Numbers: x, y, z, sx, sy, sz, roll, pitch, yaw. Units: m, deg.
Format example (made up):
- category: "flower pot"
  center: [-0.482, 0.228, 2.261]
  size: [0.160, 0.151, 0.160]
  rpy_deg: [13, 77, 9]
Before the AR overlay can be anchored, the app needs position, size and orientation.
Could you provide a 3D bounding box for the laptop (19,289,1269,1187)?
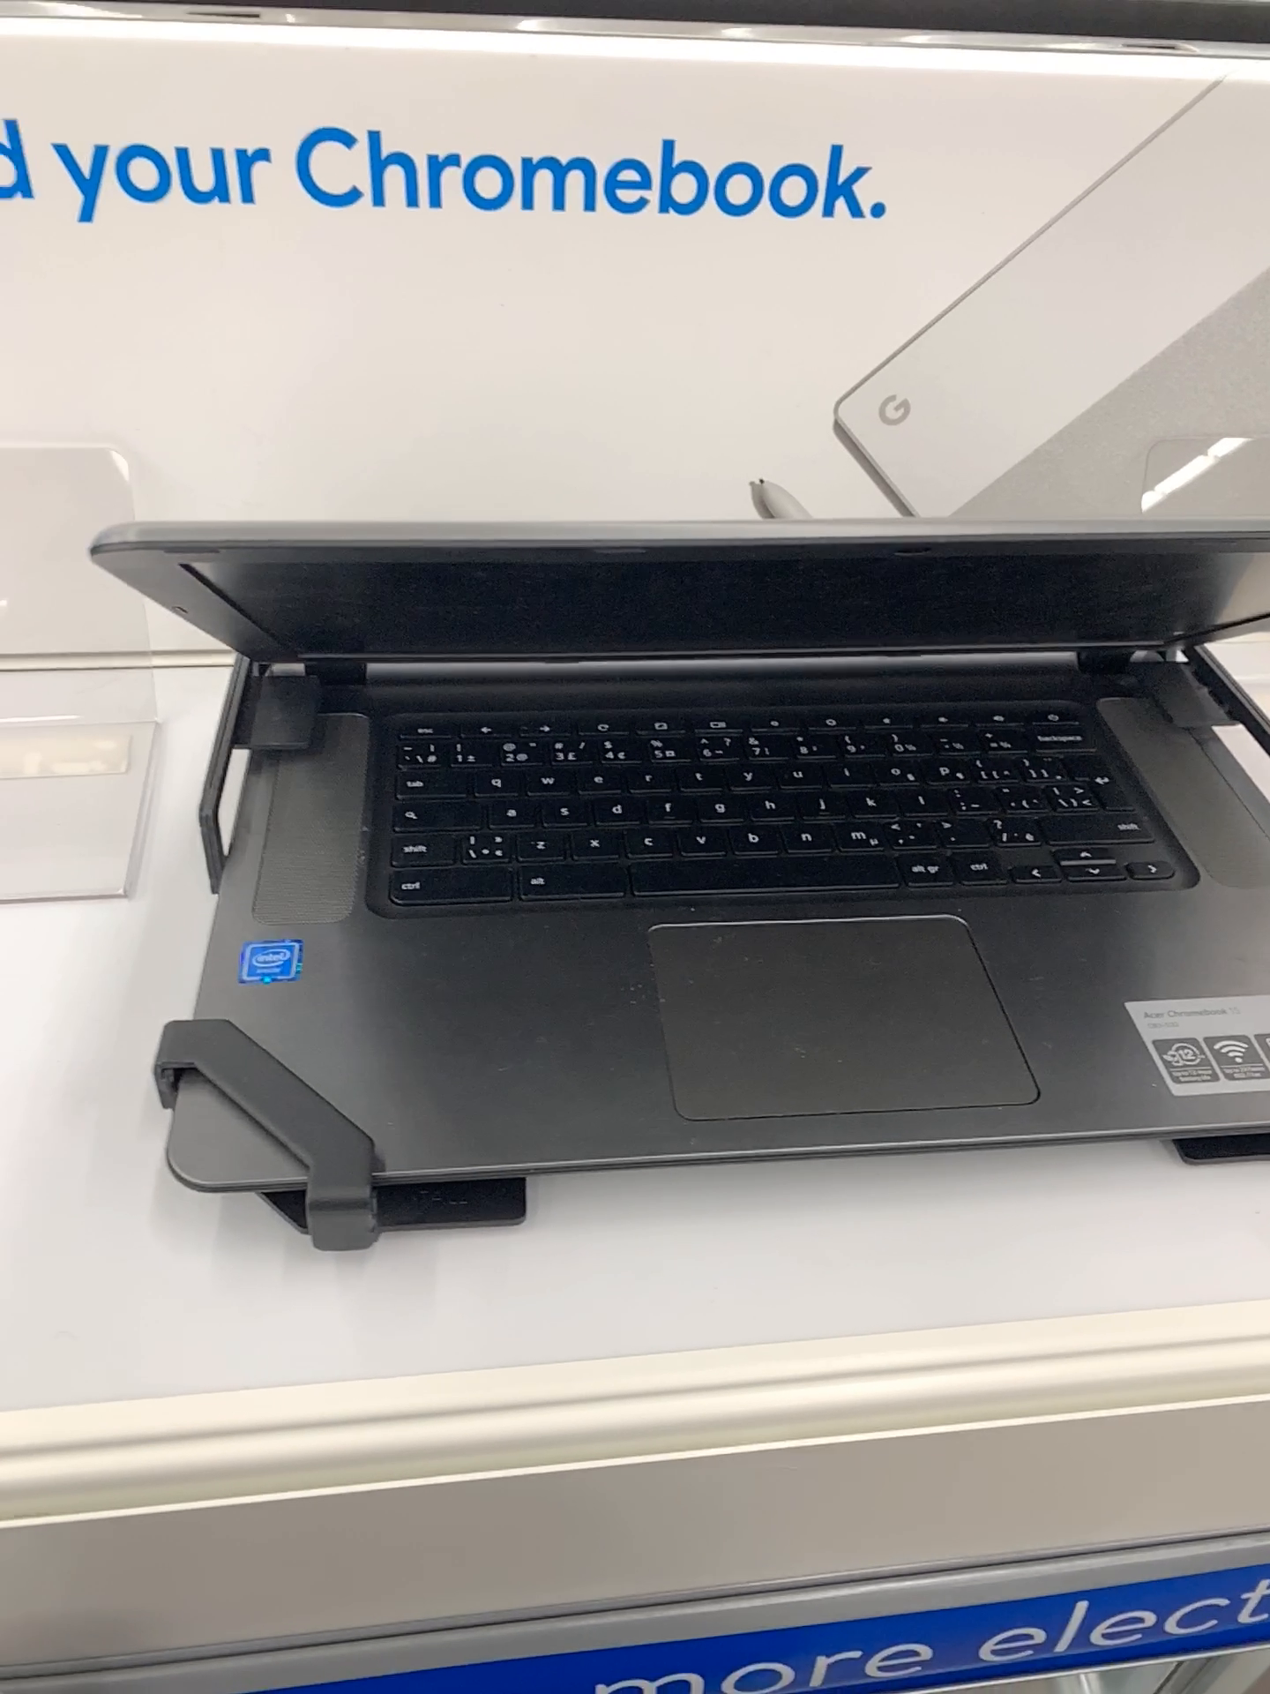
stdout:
- category: "laptop"
  center: [0.047, -0.043, 0.323]
  size: [0.303, 0.119, 0.198]
  rpy_deg: [-2, 39, -6]
